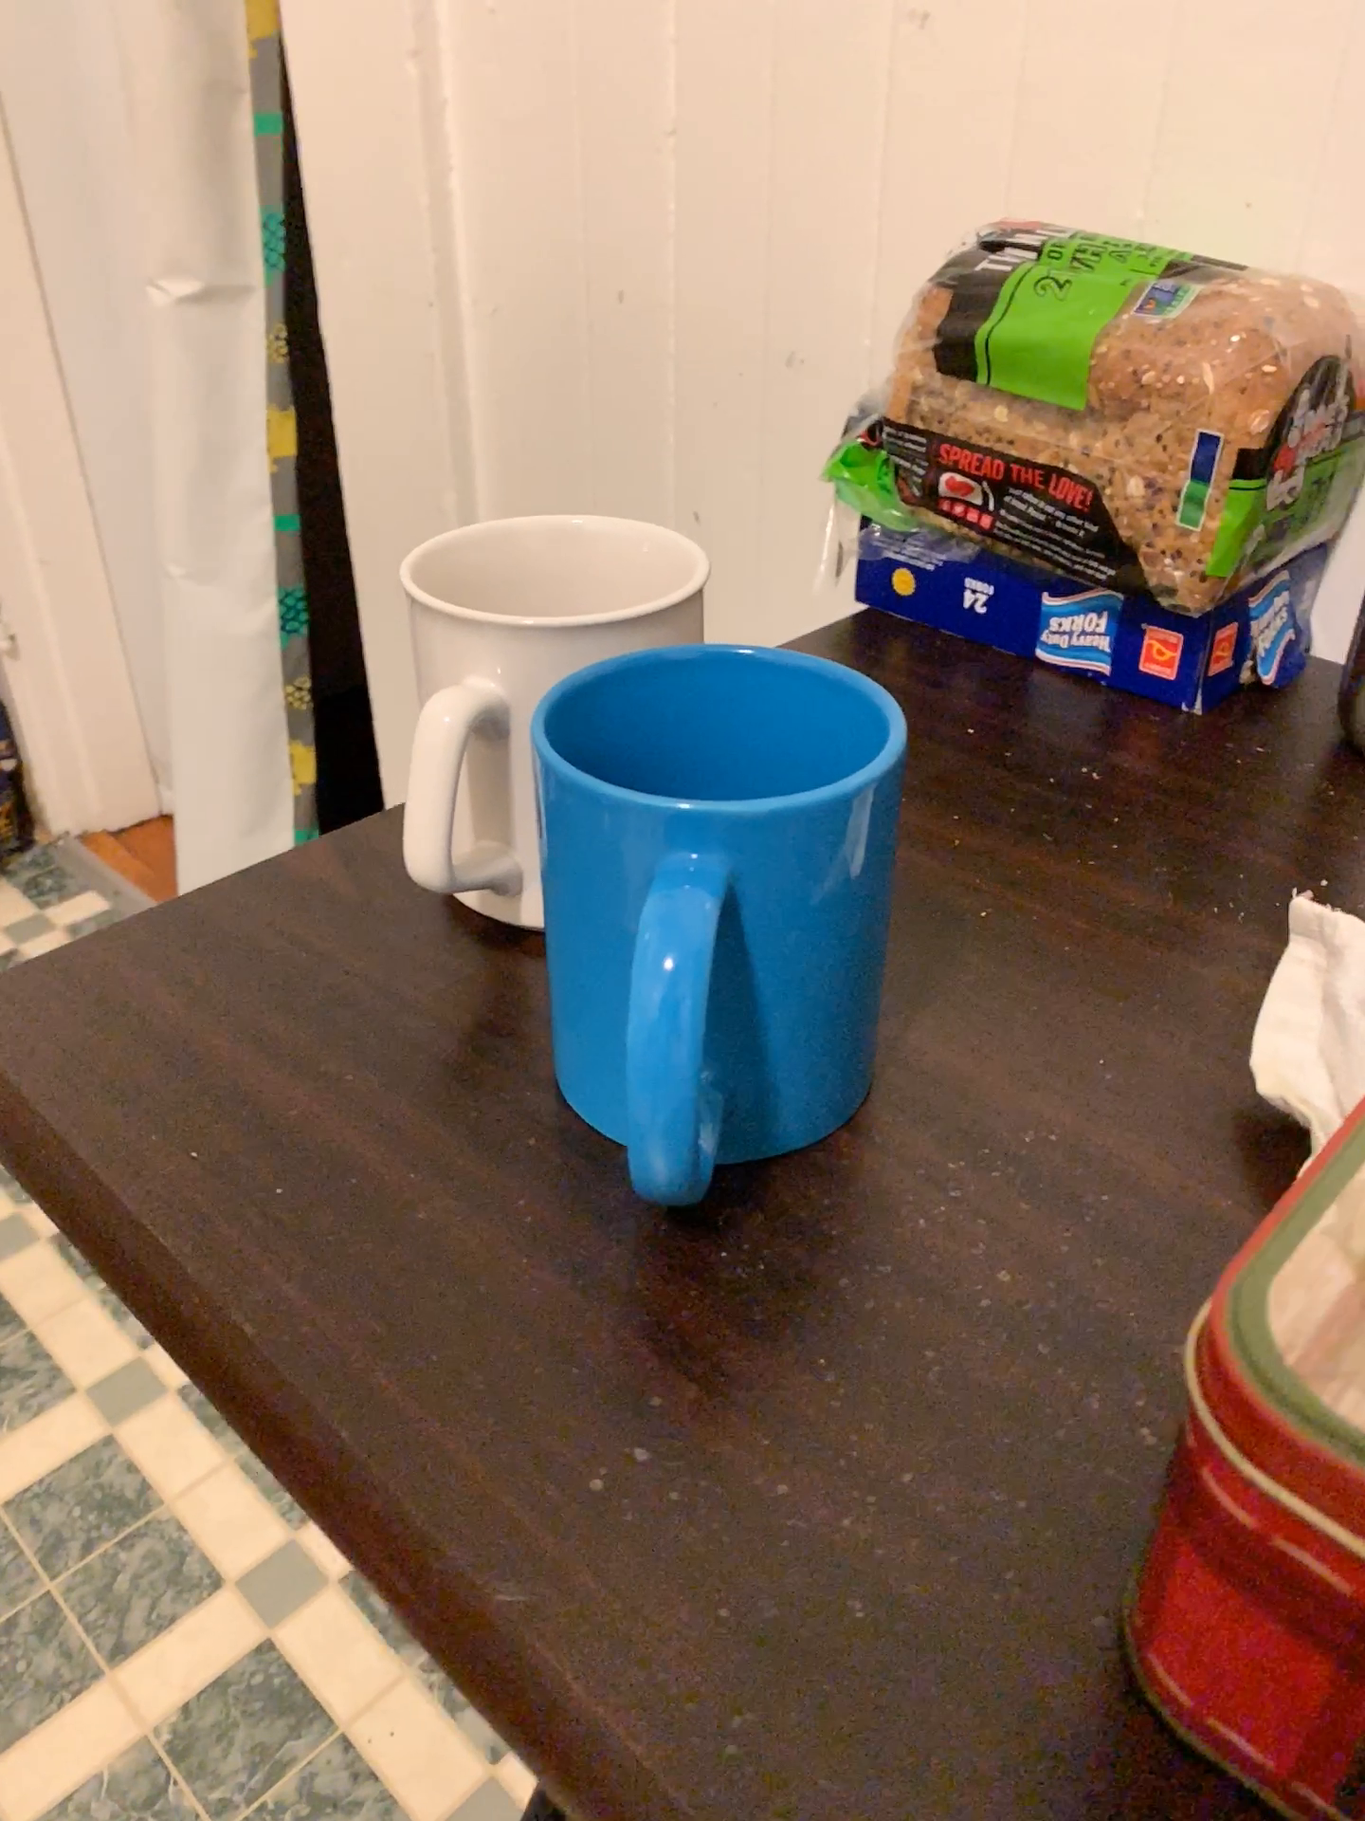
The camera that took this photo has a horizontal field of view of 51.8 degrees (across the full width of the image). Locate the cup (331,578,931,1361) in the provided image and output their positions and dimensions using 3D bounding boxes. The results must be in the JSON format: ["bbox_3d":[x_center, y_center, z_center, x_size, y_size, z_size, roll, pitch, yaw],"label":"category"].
[{"bbox_3d":[0.000,0.002,0.310,0.090,0.099,0.141,7,34,10],"label":"cup"}]

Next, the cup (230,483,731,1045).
[{"bbox_3d":[-0.045,-0.048,0.395,0.090,0.099,0.131,8,34,12],"label":"cup"}]
